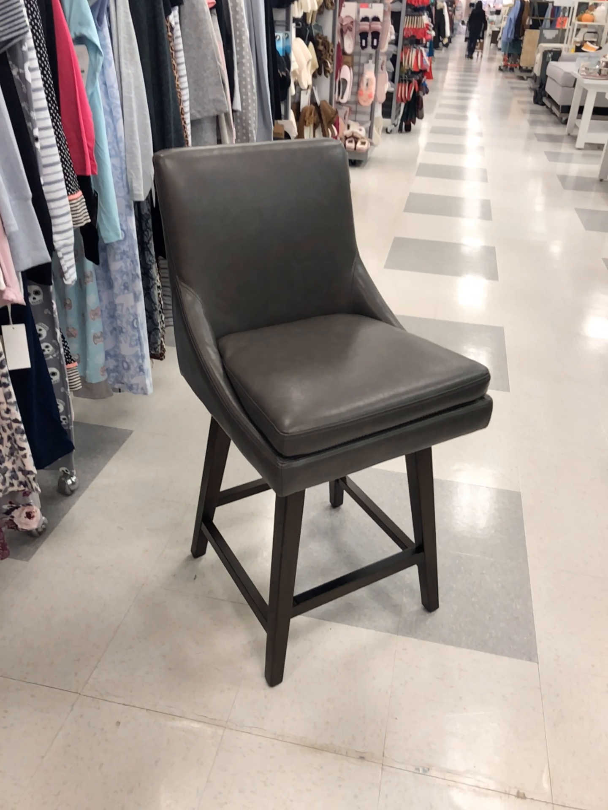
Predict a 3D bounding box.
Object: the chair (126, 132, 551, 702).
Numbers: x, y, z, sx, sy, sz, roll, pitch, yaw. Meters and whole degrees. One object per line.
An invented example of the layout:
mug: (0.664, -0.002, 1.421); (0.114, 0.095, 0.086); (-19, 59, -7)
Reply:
chair: (0.010, -0.016, 1.369); (0.493, 0.917, 0.580); (-15, 35, -27)
